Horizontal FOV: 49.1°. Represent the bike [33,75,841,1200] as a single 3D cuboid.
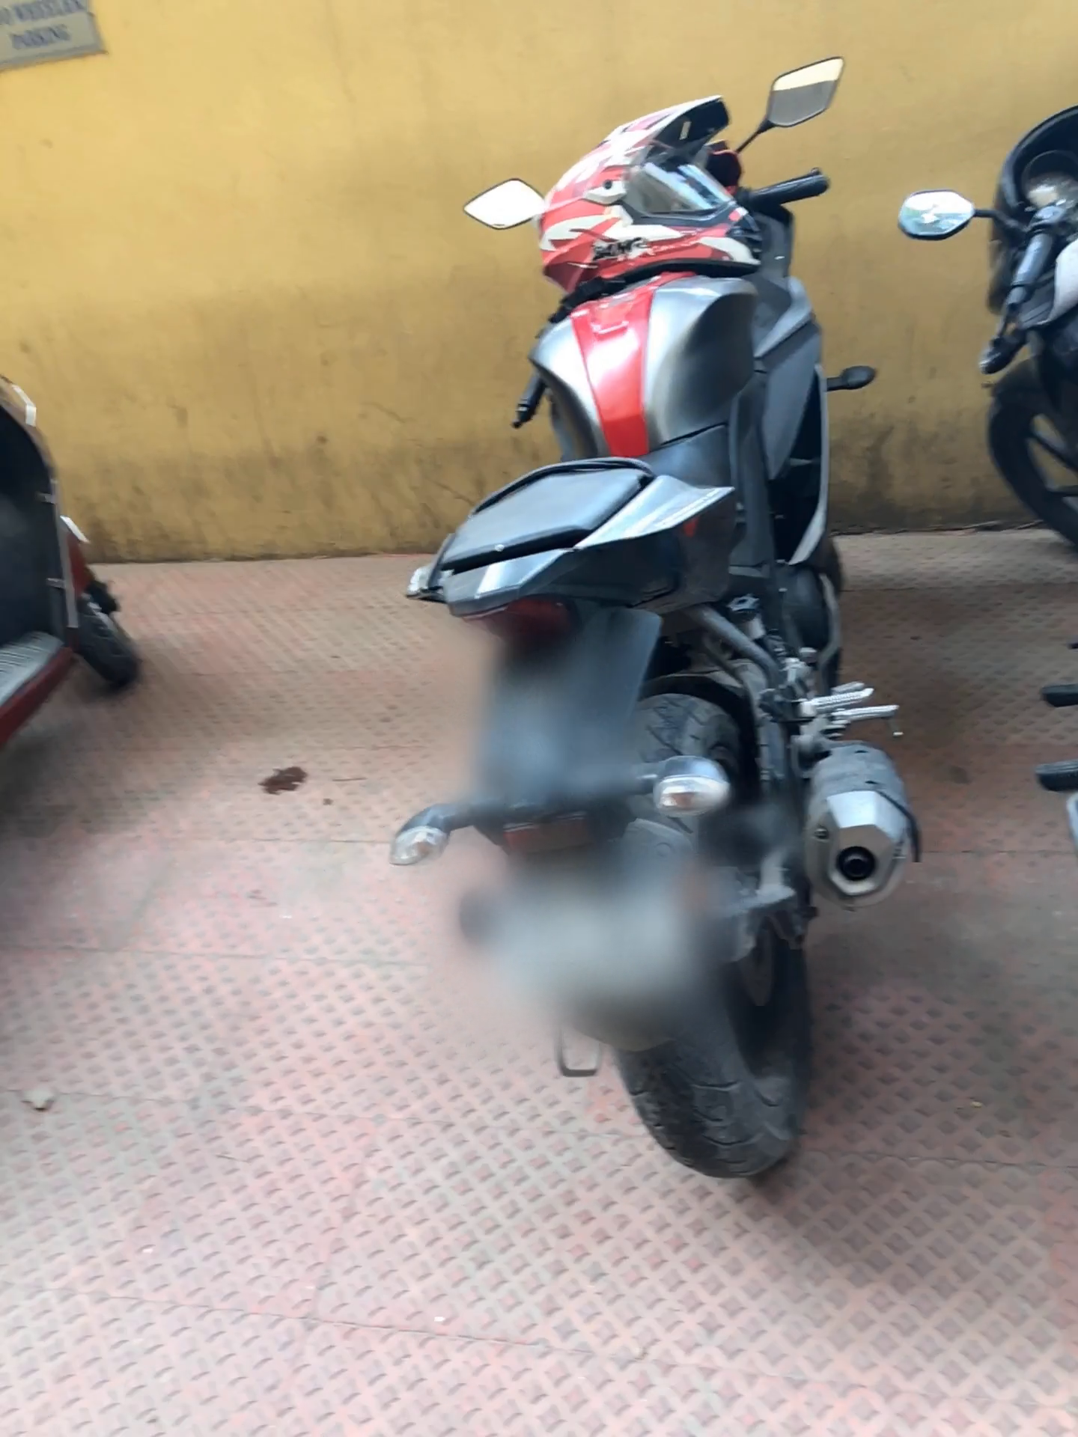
[{"bbox_3d":[-0.025,-0.334,1.941,0.725,0.870,1.754,-5,38,8],"label":"bike"}]
